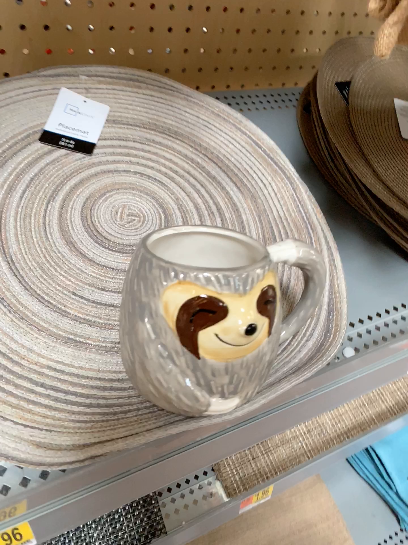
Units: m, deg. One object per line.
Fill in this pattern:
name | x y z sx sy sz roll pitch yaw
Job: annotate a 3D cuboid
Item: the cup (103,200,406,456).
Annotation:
cup | 0.026 0.020 0.275 0.150 0.089 0.106 -12 32 -28
